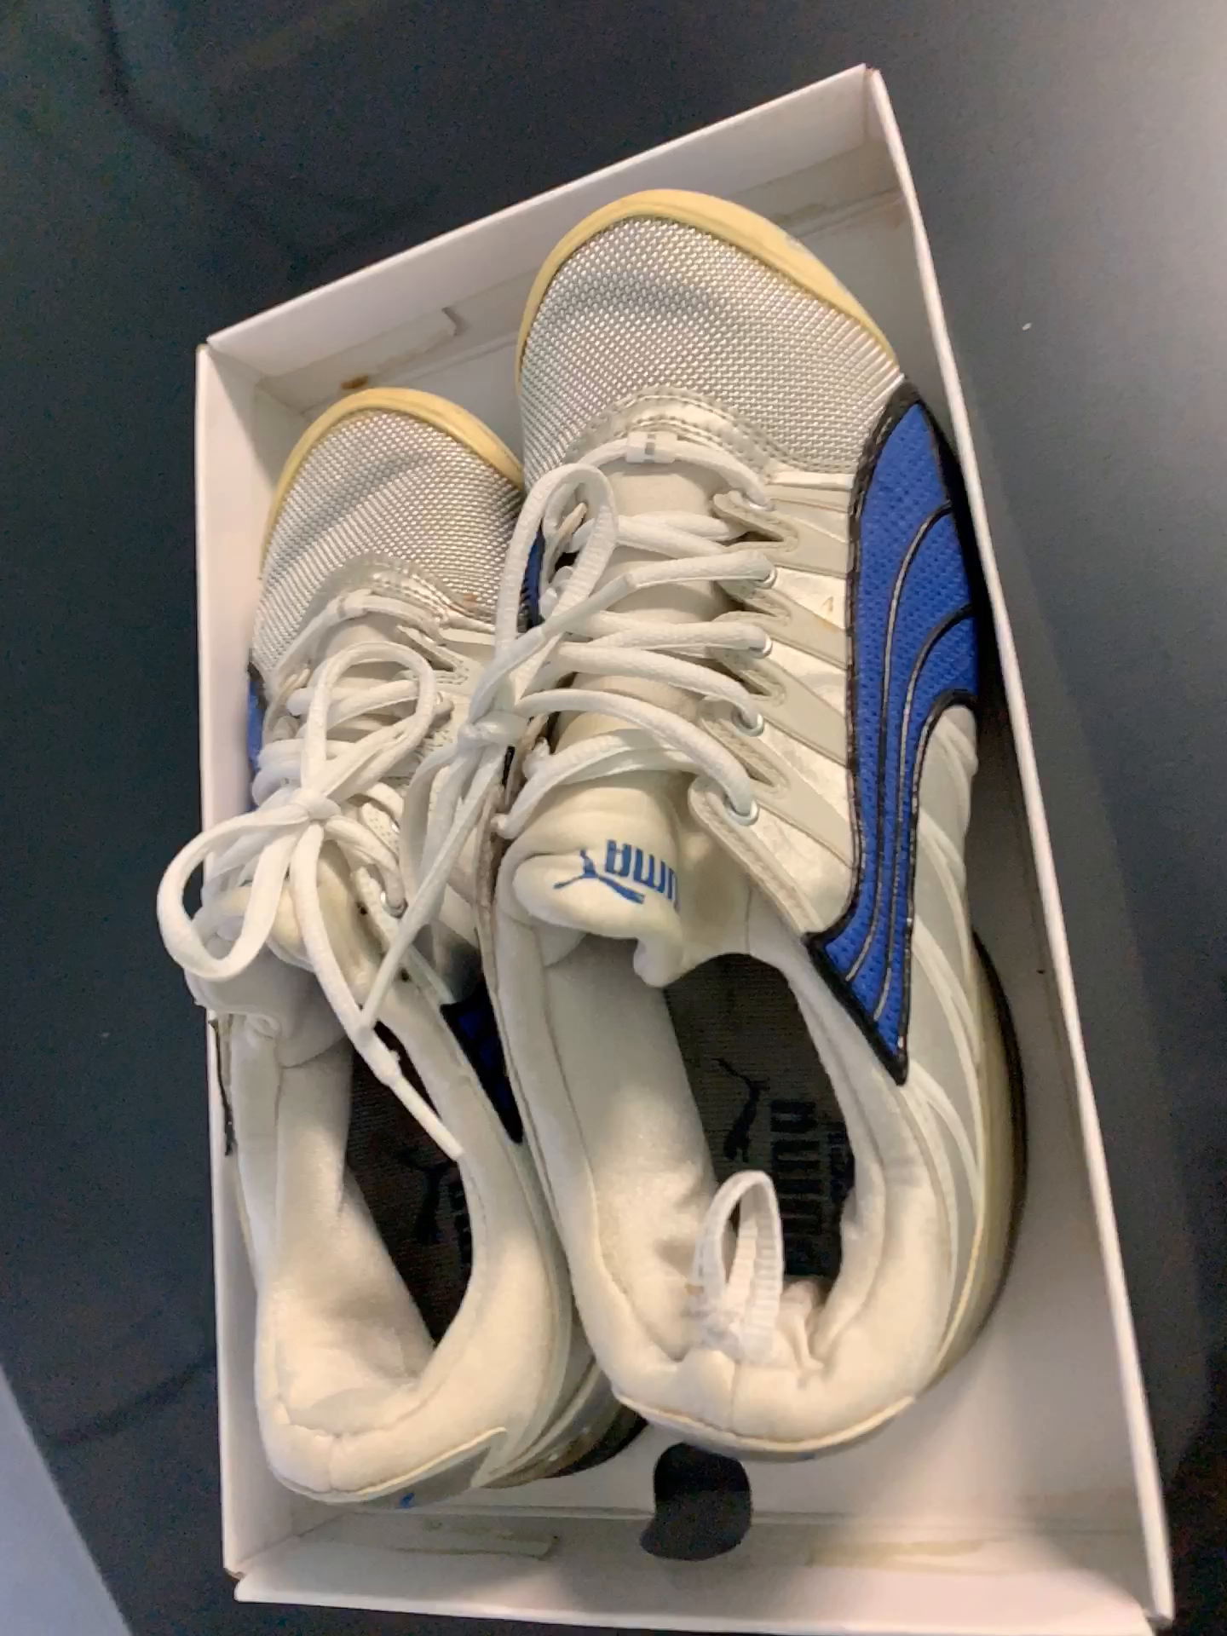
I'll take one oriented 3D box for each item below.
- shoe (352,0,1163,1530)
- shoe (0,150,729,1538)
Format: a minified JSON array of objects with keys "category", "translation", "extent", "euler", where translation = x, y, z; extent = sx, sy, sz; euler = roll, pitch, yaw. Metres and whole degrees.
[{"category":"shoe","translation":[0.026,-0.023,0.262],"extent":[0.110,0.089,0.282],"euler":[-11,66,23]},{"category":"shoe","translation":[-0.055,0.000,0.298],"extent":[0.110,0.089,0.282],"euler":[-14,65,21]}]
